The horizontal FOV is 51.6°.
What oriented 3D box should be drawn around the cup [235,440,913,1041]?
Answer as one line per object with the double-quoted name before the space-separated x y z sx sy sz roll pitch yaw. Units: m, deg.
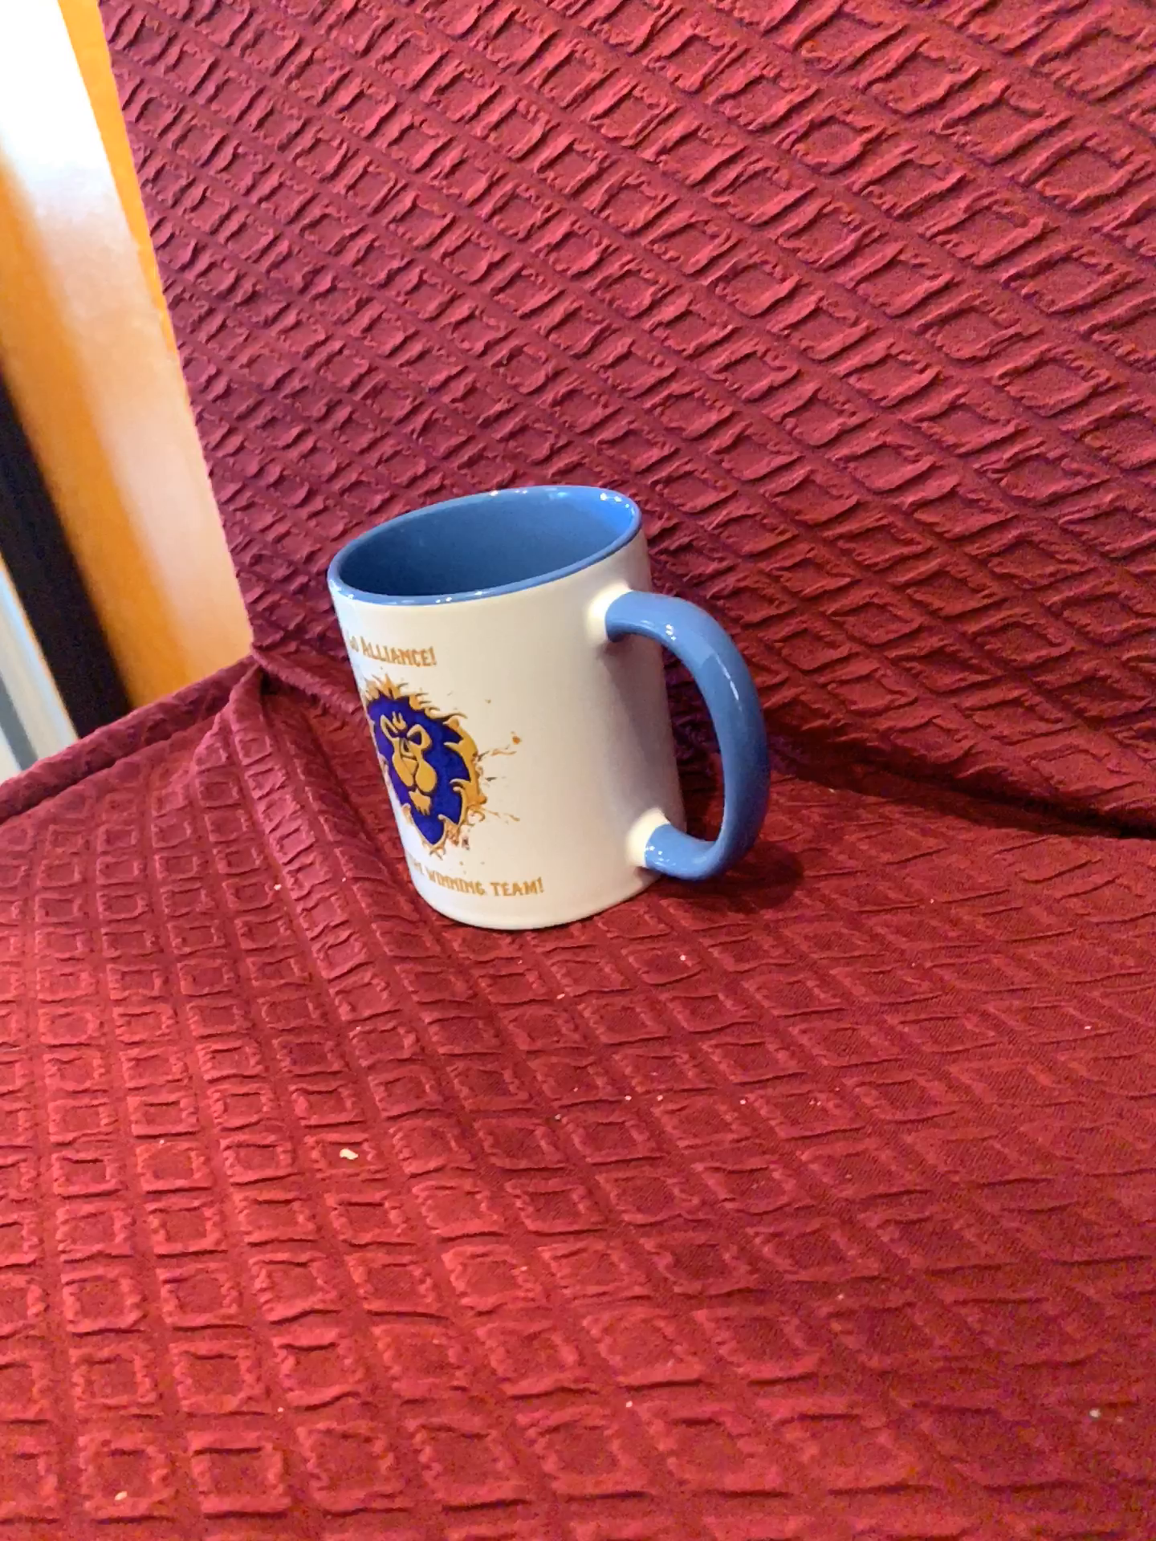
"cup" 0.003 -0.020 0.315 0.131 0.099 0.100 16 39 39
